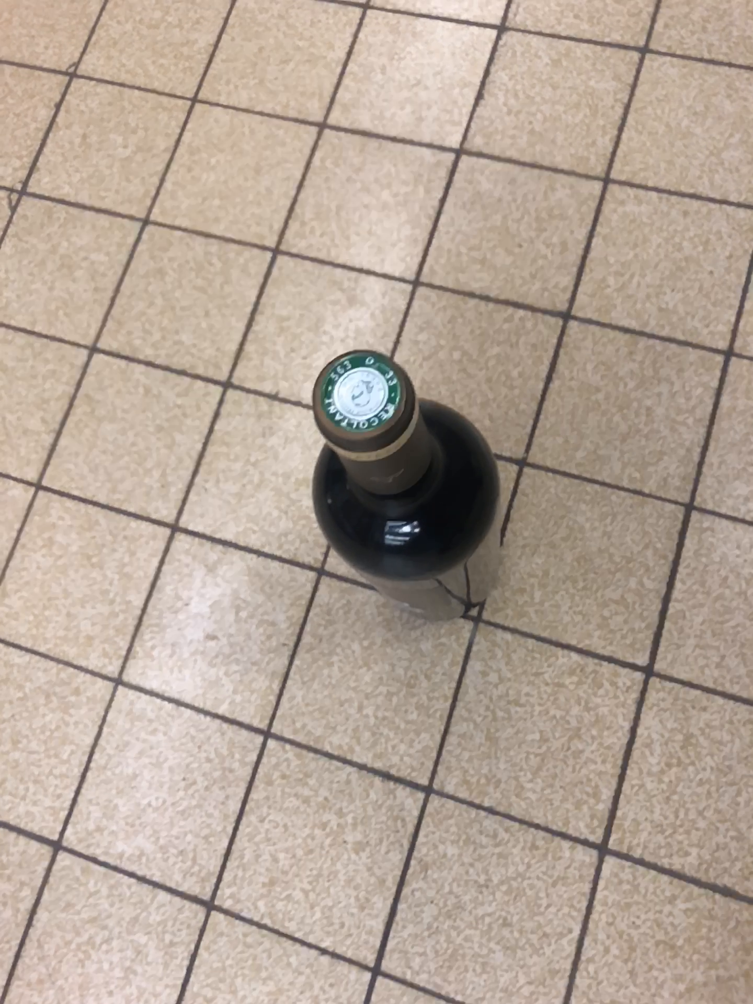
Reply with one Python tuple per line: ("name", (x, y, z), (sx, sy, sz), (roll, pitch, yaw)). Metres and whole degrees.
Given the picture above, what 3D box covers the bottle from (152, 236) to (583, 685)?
("bottle", (0.016, 0.016, 0.359), (0.080, 0.290, 0.090), (28, 82, 13))
